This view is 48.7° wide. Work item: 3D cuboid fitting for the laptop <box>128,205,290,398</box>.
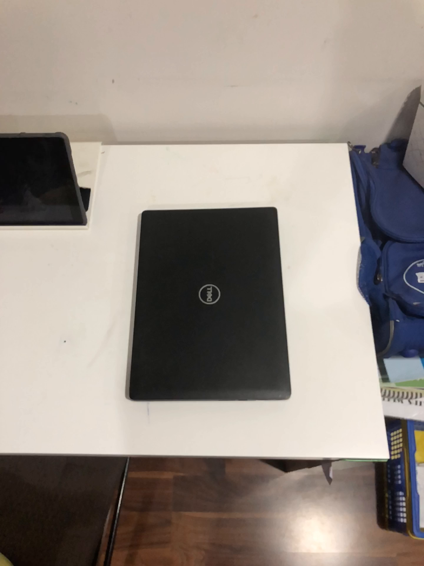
[{"bbox_3d":[-0.006,0.019,0.769,0.241,0.010,0.333,-2,66,4],"label":"laptop"}]
